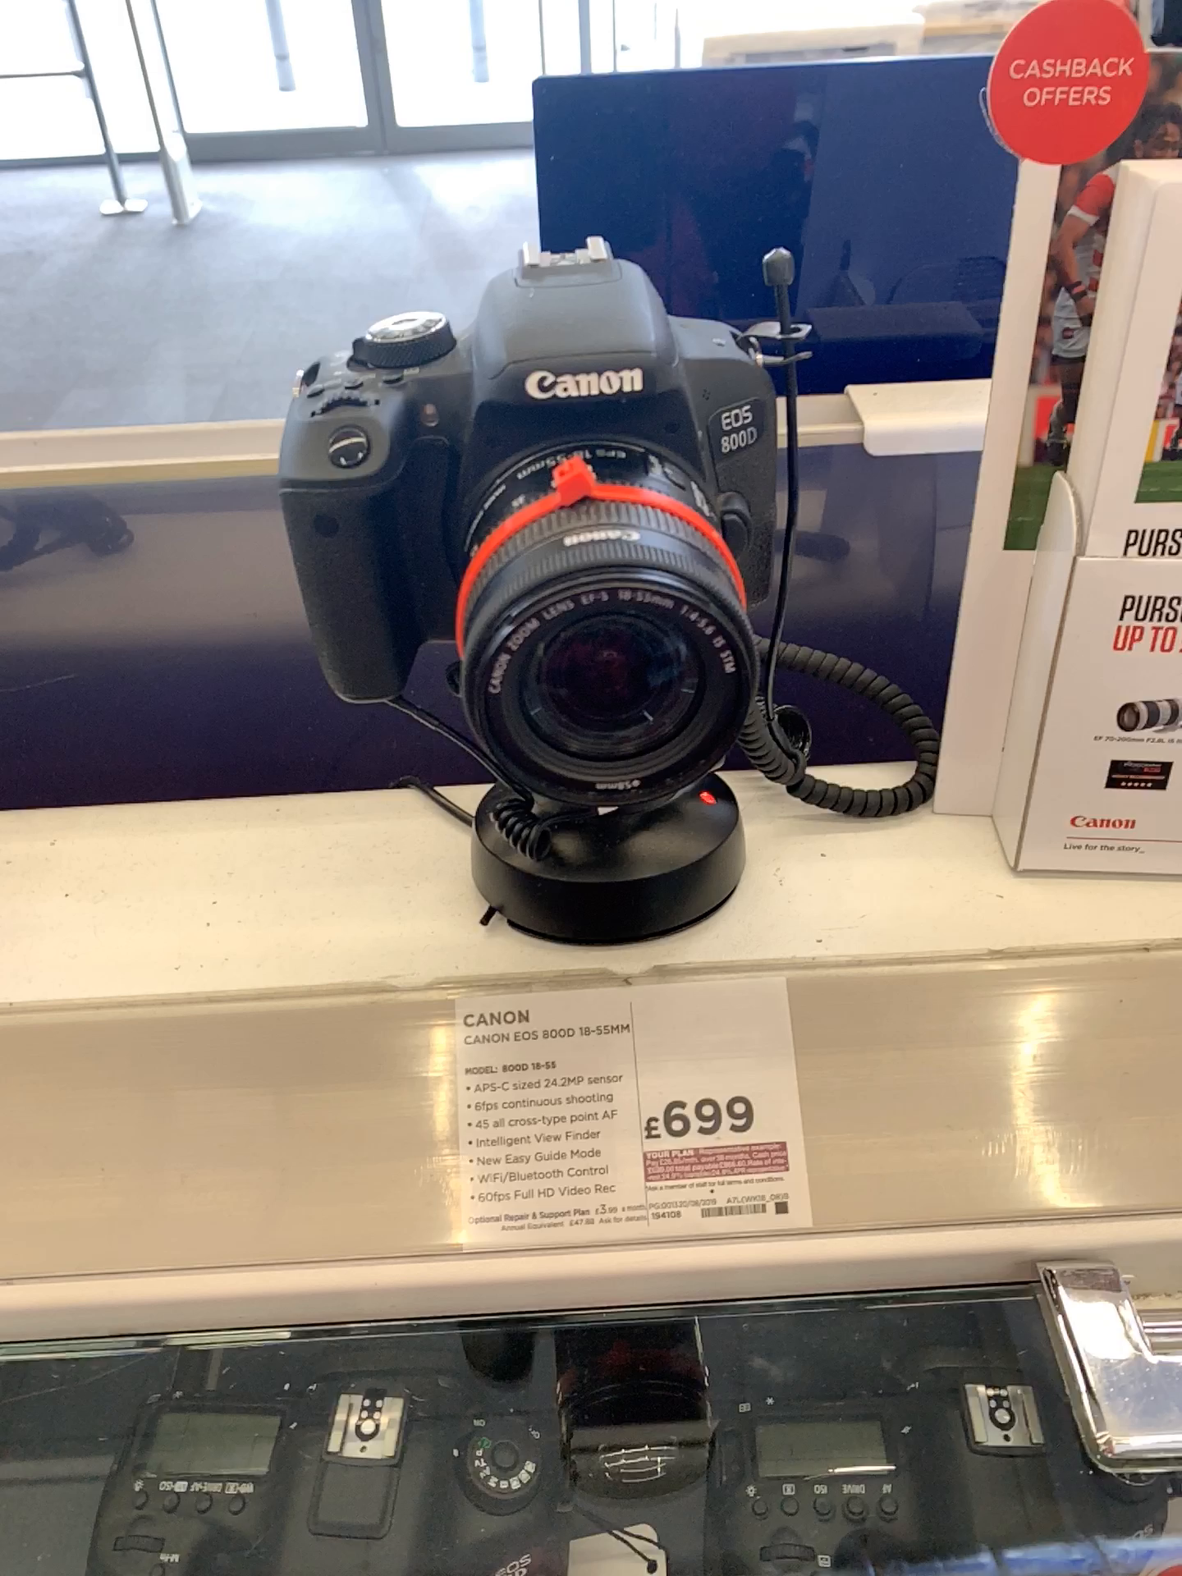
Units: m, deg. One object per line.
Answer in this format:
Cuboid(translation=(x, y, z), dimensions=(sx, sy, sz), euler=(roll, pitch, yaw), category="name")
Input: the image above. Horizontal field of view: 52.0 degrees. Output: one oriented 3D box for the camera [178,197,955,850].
Cuboid(translation=(-0.011, -0.074, 0.299), dimensions=(0.140, 0.089, 0.141), euler=(-7, 40, -5), category="camera")
